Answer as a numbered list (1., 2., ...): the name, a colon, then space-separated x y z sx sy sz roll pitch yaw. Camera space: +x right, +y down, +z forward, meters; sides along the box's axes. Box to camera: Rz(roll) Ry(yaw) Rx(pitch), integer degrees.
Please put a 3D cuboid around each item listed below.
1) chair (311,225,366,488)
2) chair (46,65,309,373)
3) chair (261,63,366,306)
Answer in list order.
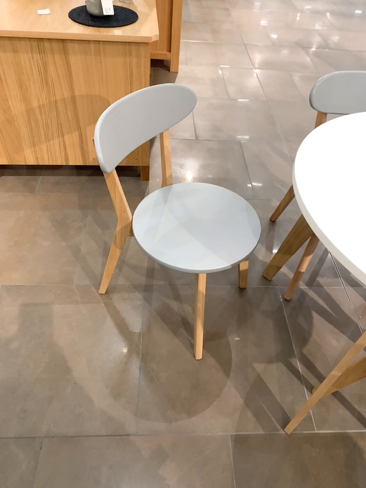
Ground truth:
1. chair: 0.746 0.446 0.882 0.519 0.799 0.545 3 46 -3
2. chair: -0.016 -0.073 1.319 0.531 0.799 0.523 27 50 19
3. chair: 0.706 -0.207 1.533 0.519 0.799 0.545 2 46 -3
